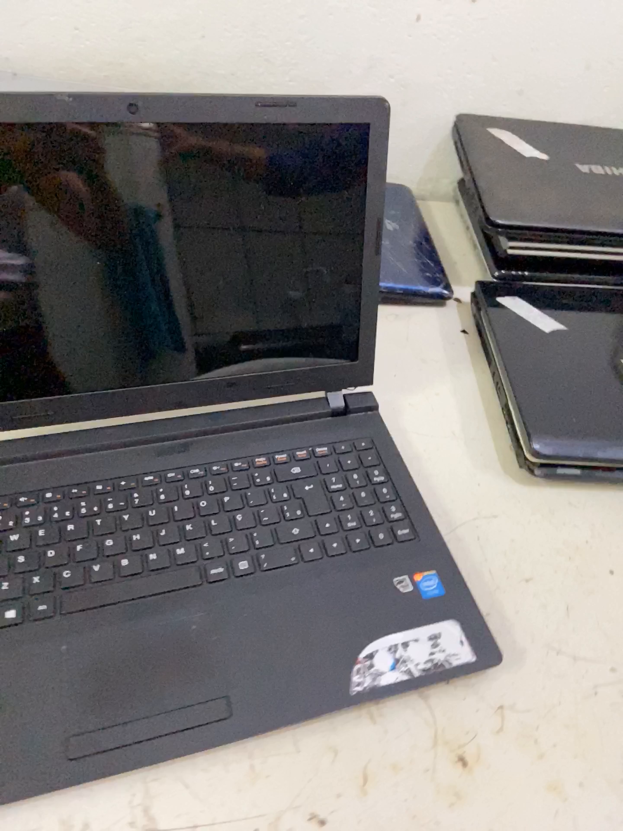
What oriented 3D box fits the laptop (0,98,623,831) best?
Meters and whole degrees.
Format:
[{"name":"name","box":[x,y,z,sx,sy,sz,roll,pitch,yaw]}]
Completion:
[{"name":"laptop","box":[-0.081,-0.013,0.404,0.376,0.230,0.339,-8,48,-16]}]
